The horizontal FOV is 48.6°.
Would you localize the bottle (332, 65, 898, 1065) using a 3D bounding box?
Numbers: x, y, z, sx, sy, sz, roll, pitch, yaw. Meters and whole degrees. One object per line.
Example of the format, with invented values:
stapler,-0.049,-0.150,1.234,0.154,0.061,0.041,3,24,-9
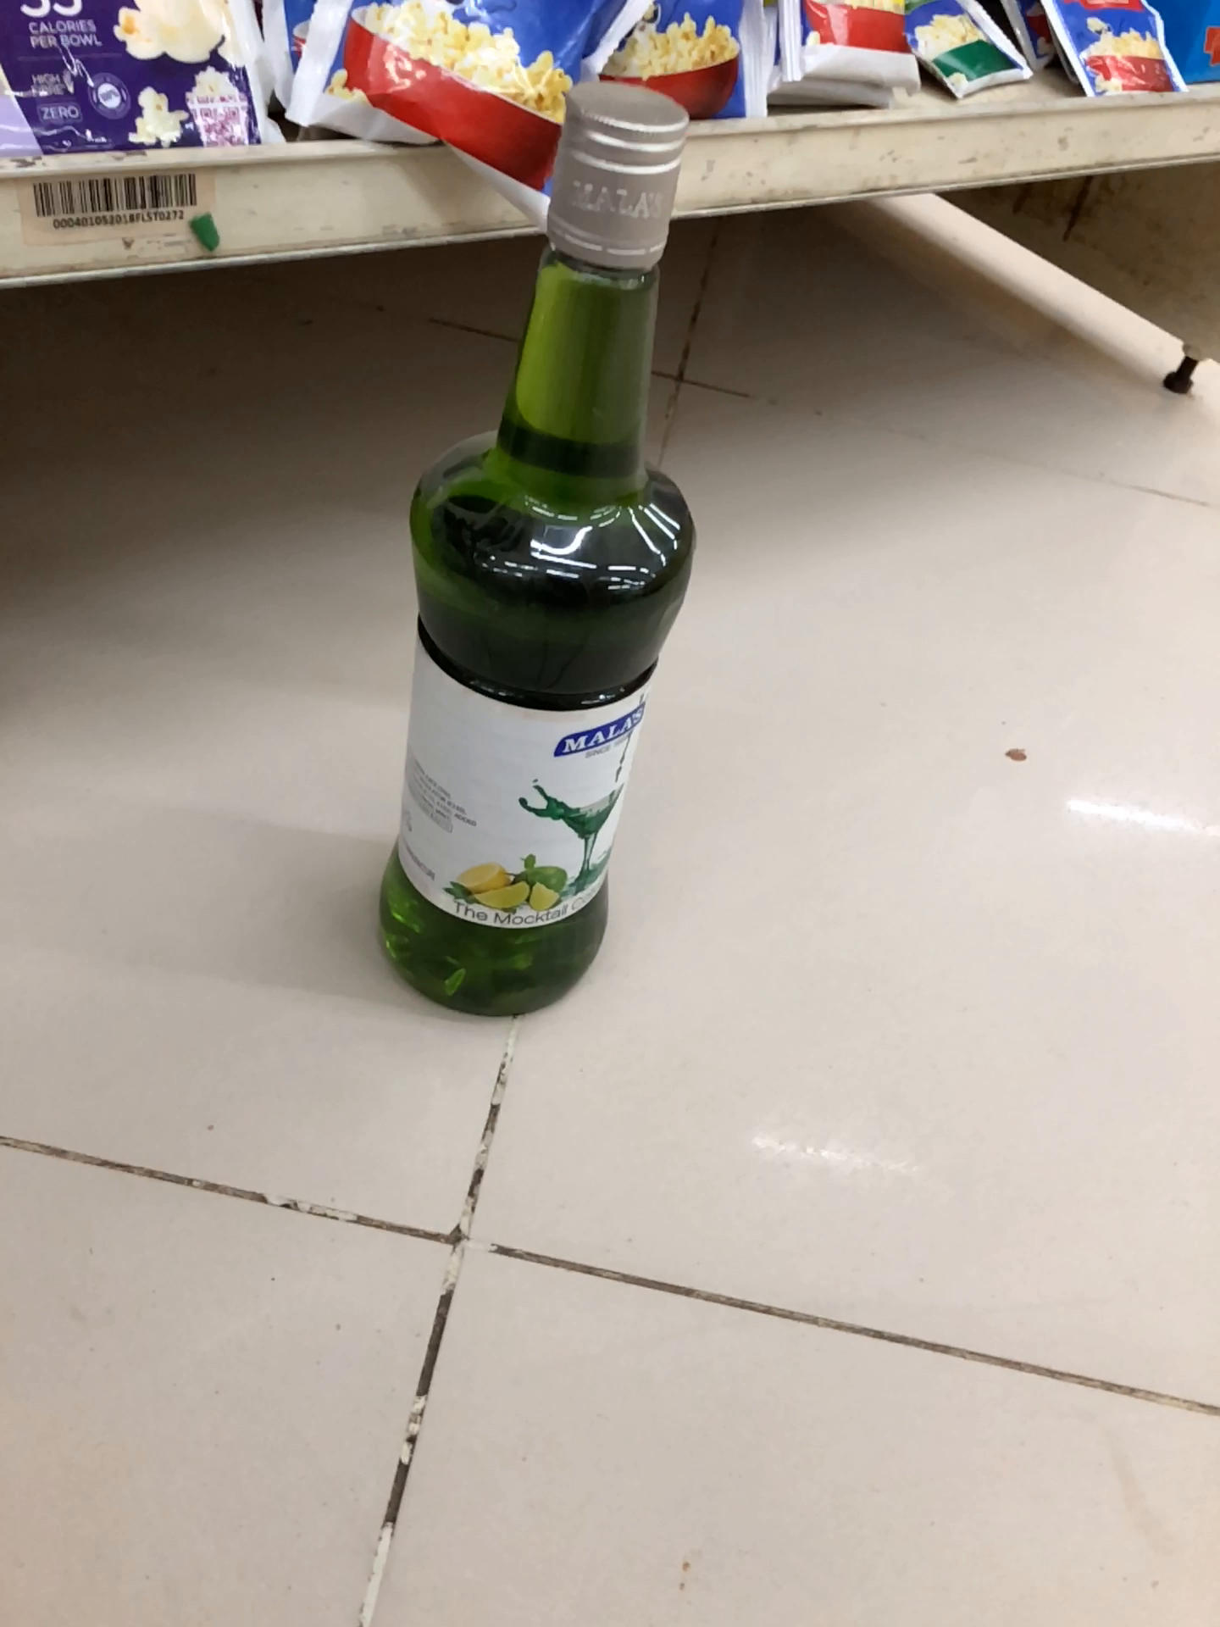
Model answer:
bottle,-0.019,-0.056,0.406,0.090,0.278,0.090,7,45,-7
